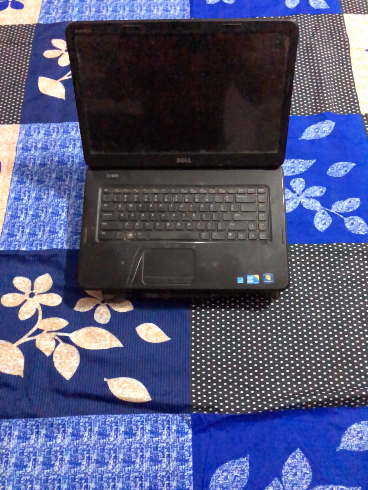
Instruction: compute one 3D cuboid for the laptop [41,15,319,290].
[{"bbox_3d":[-0.002,-0.146,0.677,0.363,0.187,0.390,-1,71,0],"label":"laptop"}]
